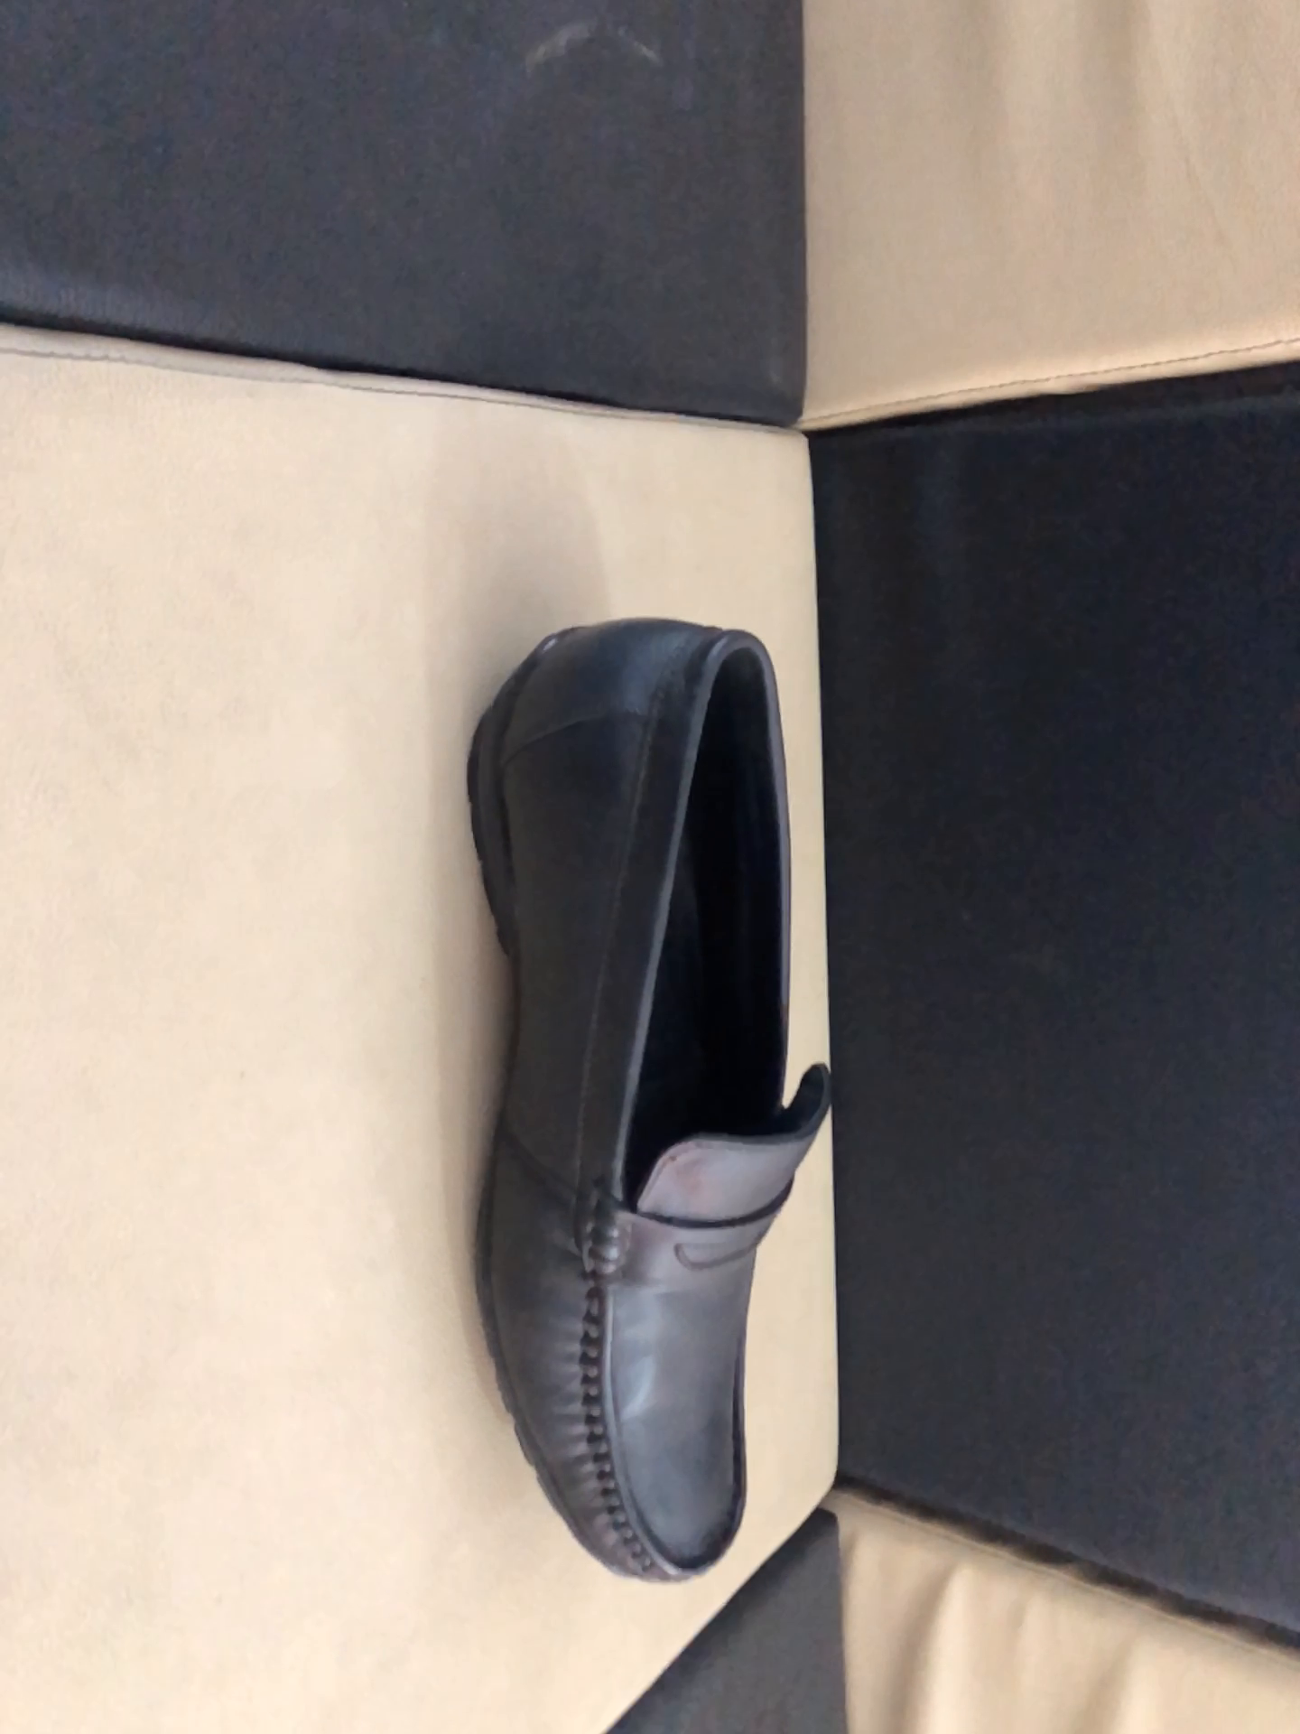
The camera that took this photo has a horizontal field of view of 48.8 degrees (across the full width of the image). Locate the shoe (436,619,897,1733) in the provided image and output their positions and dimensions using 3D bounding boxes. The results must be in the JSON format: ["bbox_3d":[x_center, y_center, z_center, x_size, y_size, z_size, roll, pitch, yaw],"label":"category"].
[{"bbox_3d":[0.011,0.077,0.420,0.101,0.079,0.290,-13,103,-52],"label":"shoe"}]
